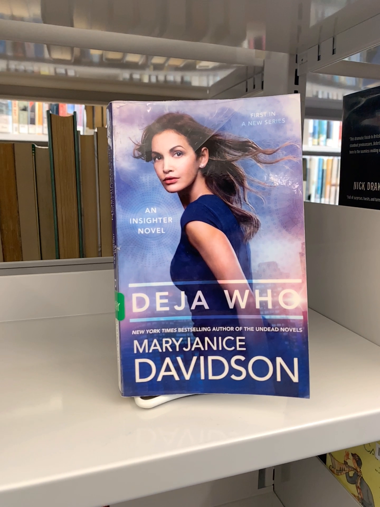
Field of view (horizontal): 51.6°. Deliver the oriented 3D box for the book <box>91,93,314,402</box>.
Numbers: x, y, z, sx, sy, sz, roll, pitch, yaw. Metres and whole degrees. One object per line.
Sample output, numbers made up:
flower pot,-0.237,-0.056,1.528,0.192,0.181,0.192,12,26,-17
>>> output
book,0.007,-0.005,0.268,0.136,0.190,0.047,-1,-2,-2
